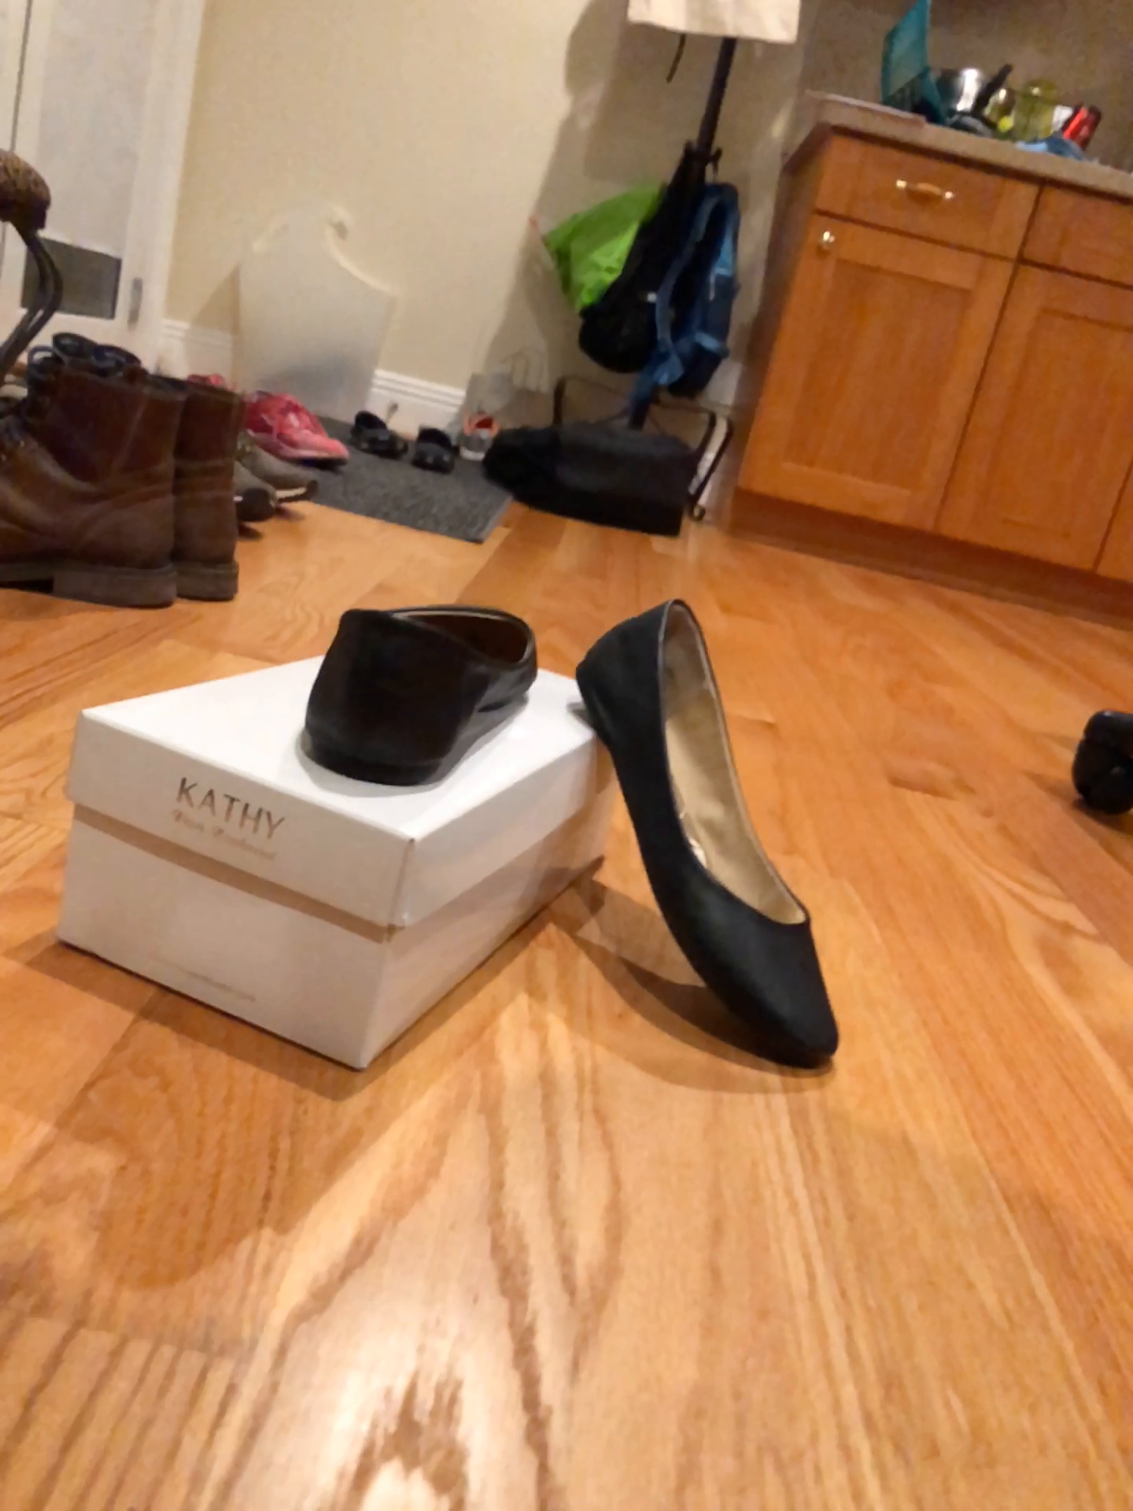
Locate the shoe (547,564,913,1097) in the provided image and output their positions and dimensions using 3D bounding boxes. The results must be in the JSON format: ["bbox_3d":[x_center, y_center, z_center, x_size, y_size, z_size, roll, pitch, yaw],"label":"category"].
[{"bbox_3d":[0.070,0.032,0.578,0.076,0.060,0.241,18,45,-48],"label":"shoe"}]

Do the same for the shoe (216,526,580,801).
[{"bbox_3d":[-0.058,-0.052,0.539,0.076,0.060,0.240,16,17,7],"label":"shoe"}]
